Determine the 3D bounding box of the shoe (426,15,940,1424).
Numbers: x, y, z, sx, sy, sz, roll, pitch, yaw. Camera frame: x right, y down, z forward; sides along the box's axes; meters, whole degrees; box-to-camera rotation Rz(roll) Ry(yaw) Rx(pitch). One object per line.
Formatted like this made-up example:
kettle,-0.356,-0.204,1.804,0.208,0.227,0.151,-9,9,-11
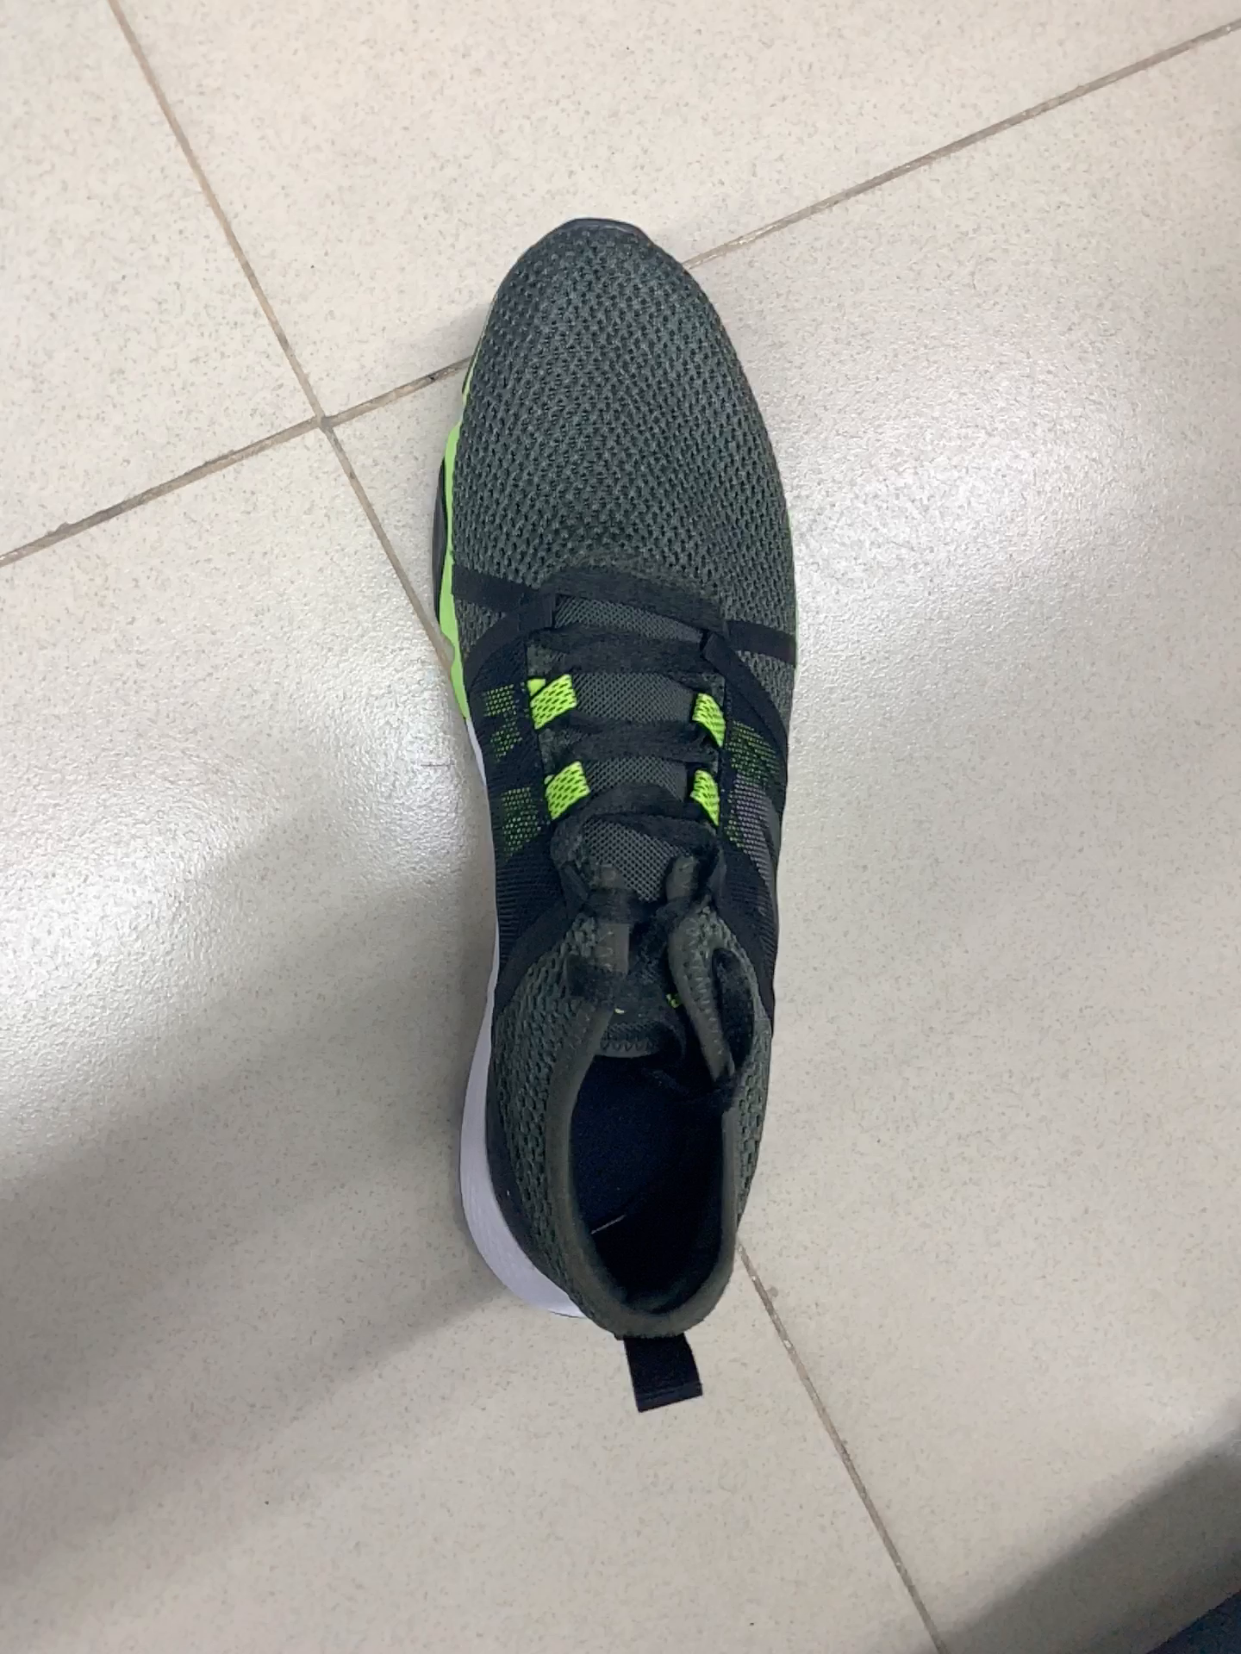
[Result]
shoe,0.008,-0.022,0.331,0.110,0.100,0.300,-1,93,-11
